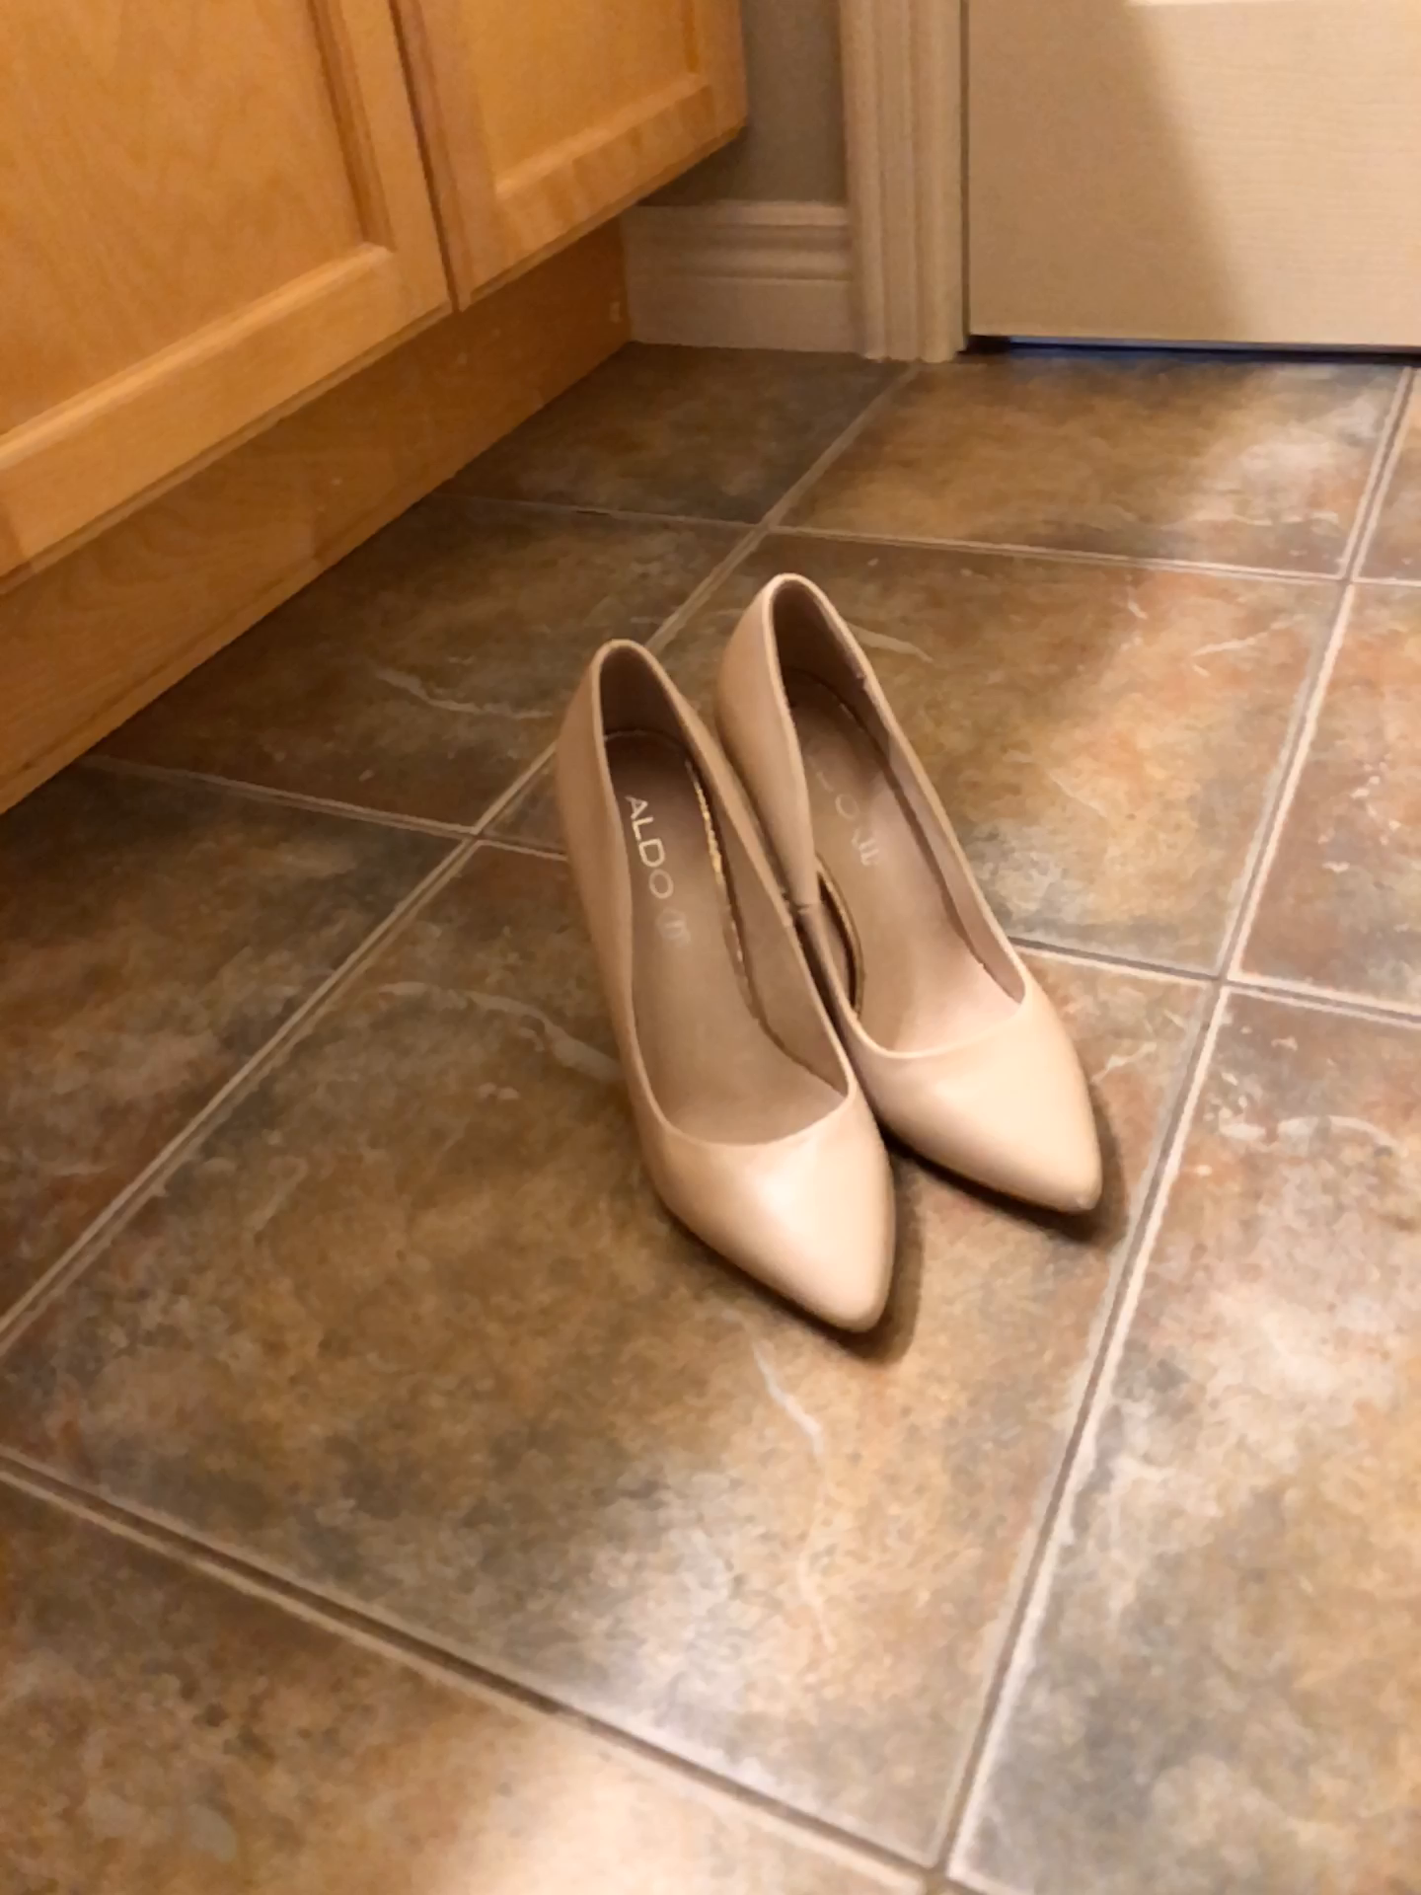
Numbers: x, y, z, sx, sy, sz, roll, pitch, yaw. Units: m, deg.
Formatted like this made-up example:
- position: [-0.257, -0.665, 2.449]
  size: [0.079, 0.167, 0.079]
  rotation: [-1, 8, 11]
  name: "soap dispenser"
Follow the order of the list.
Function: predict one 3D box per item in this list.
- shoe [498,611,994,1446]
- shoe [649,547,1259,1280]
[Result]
- position: [0.006, 0.013, 0.510]
  size: [0.080, 0.149, 0.231]
  rotation: [-16, 39, -10]
  name: "shoe"
- position: [0.068, -0.025, 0.525]
  size: [0.080, 0.129, 0.231]
  rotation: [-20, 39, -15]
  name: "shoe"
